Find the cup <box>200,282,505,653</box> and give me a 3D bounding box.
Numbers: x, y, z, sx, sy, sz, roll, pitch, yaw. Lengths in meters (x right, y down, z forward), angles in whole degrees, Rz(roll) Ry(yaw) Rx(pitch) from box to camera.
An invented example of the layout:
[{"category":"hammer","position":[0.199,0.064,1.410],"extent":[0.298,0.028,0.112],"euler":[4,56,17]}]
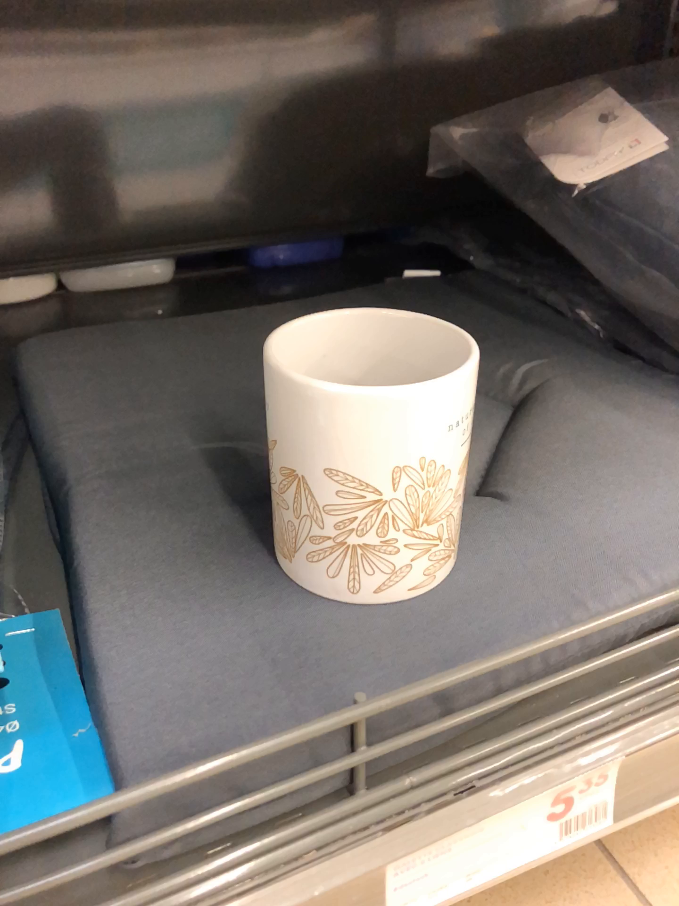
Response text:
[{"category":"cup","position":[0.013,-0.003,0.322],"extent":[0.090,0.099,0.121],"euler":[9,31,15]}]
